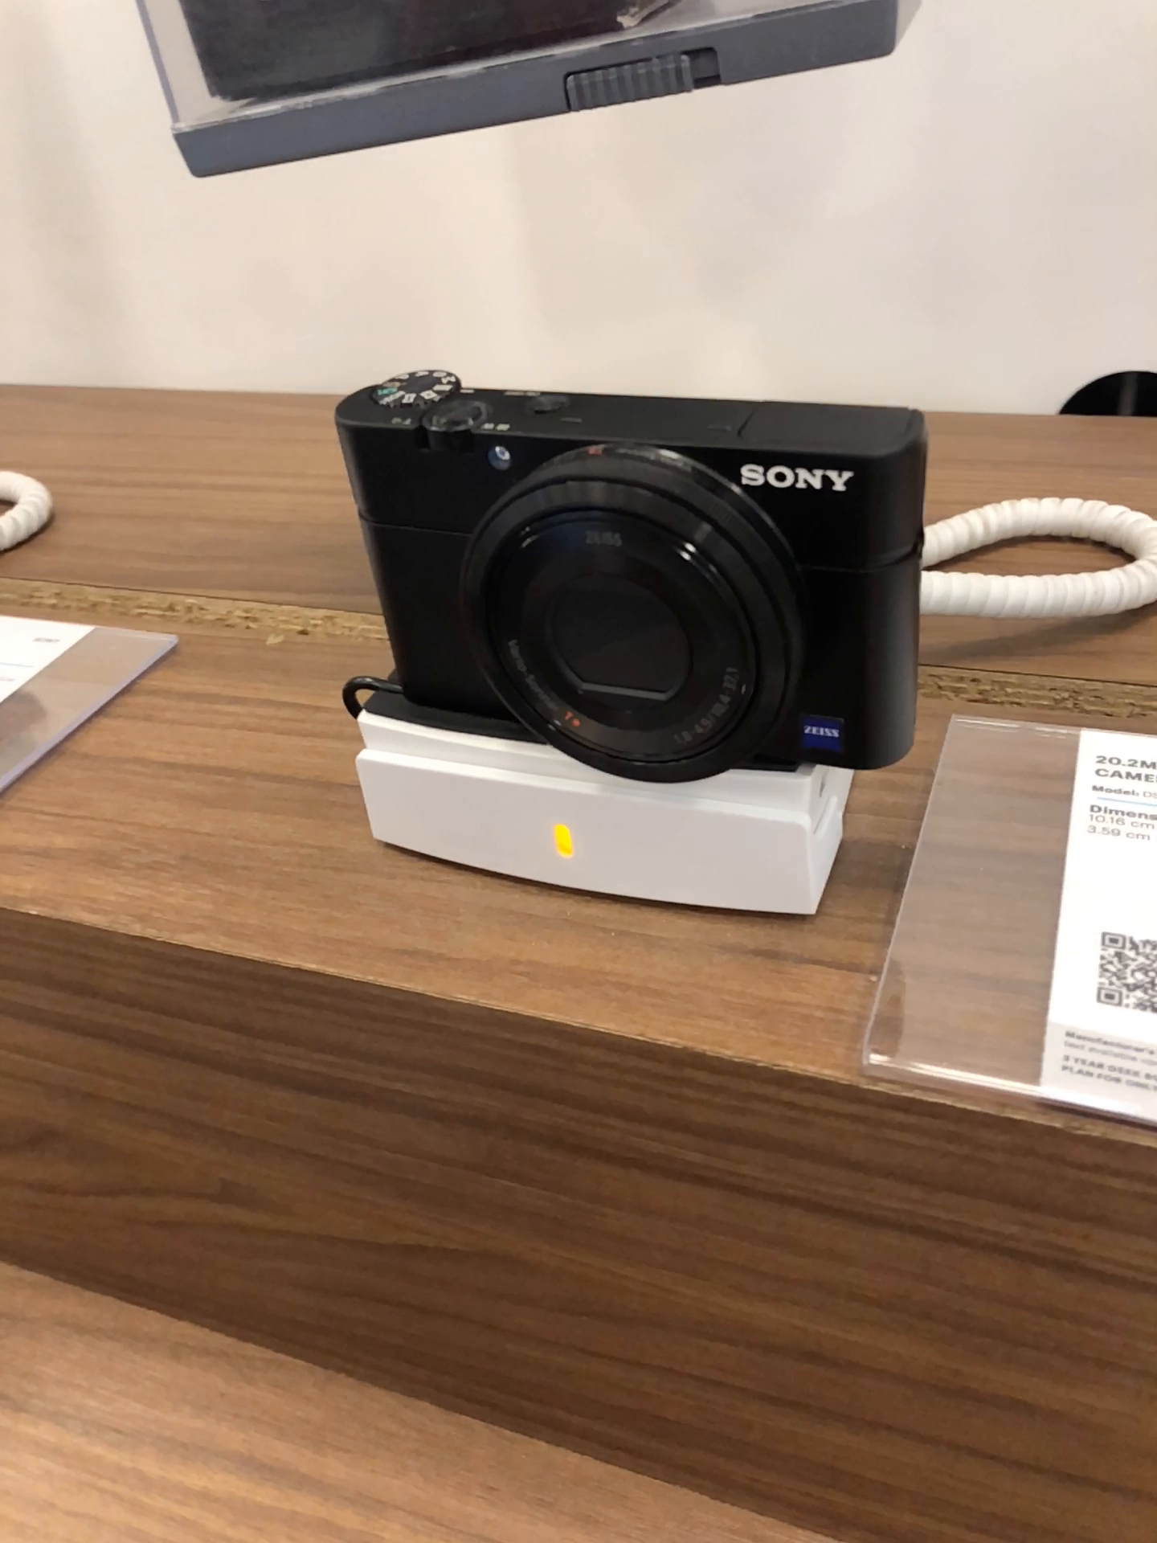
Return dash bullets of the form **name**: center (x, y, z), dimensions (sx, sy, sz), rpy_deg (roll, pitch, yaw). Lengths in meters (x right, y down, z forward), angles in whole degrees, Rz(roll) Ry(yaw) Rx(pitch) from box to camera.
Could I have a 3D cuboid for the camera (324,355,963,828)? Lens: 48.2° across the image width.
- **camera**: center (0.013, -0.034, 0.231), dimensions (0.100, 0.070, 0.030), rpy_deg (9, 41, 23)
